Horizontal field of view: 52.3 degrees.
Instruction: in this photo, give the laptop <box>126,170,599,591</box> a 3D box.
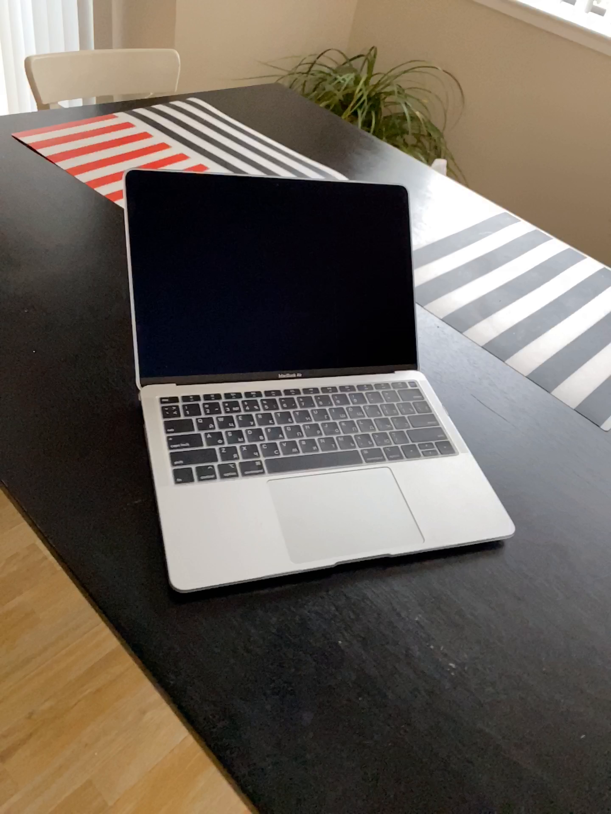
[{"bbox_3d":[0.009,-0.056,0.568,0.297,0.139,0.363,-5,47,-20],"label":"laptop"}]
